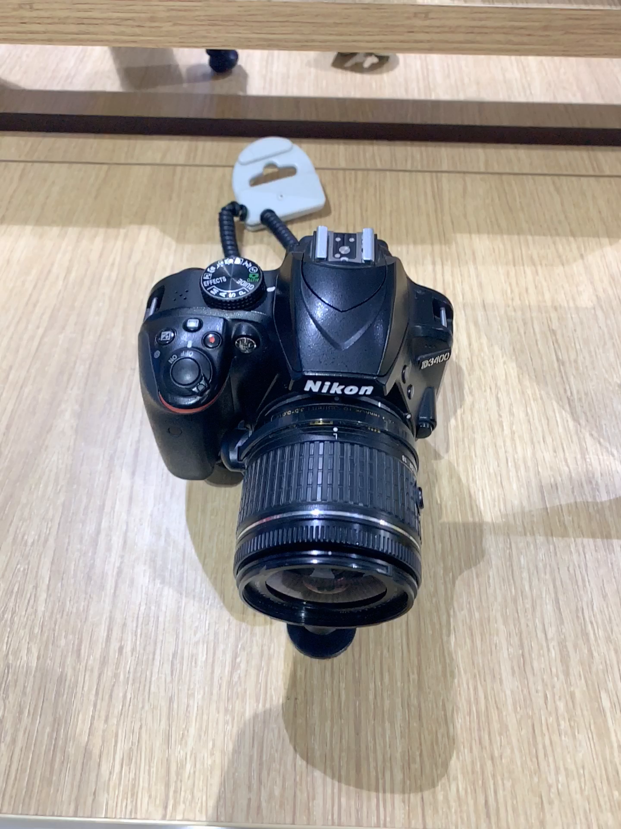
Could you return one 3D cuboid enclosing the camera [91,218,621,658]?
[{"bbox_3d":[0.010,0.008,0.190,0.110,0.073,0.100,3,55,-1],"label":"camera"}]
